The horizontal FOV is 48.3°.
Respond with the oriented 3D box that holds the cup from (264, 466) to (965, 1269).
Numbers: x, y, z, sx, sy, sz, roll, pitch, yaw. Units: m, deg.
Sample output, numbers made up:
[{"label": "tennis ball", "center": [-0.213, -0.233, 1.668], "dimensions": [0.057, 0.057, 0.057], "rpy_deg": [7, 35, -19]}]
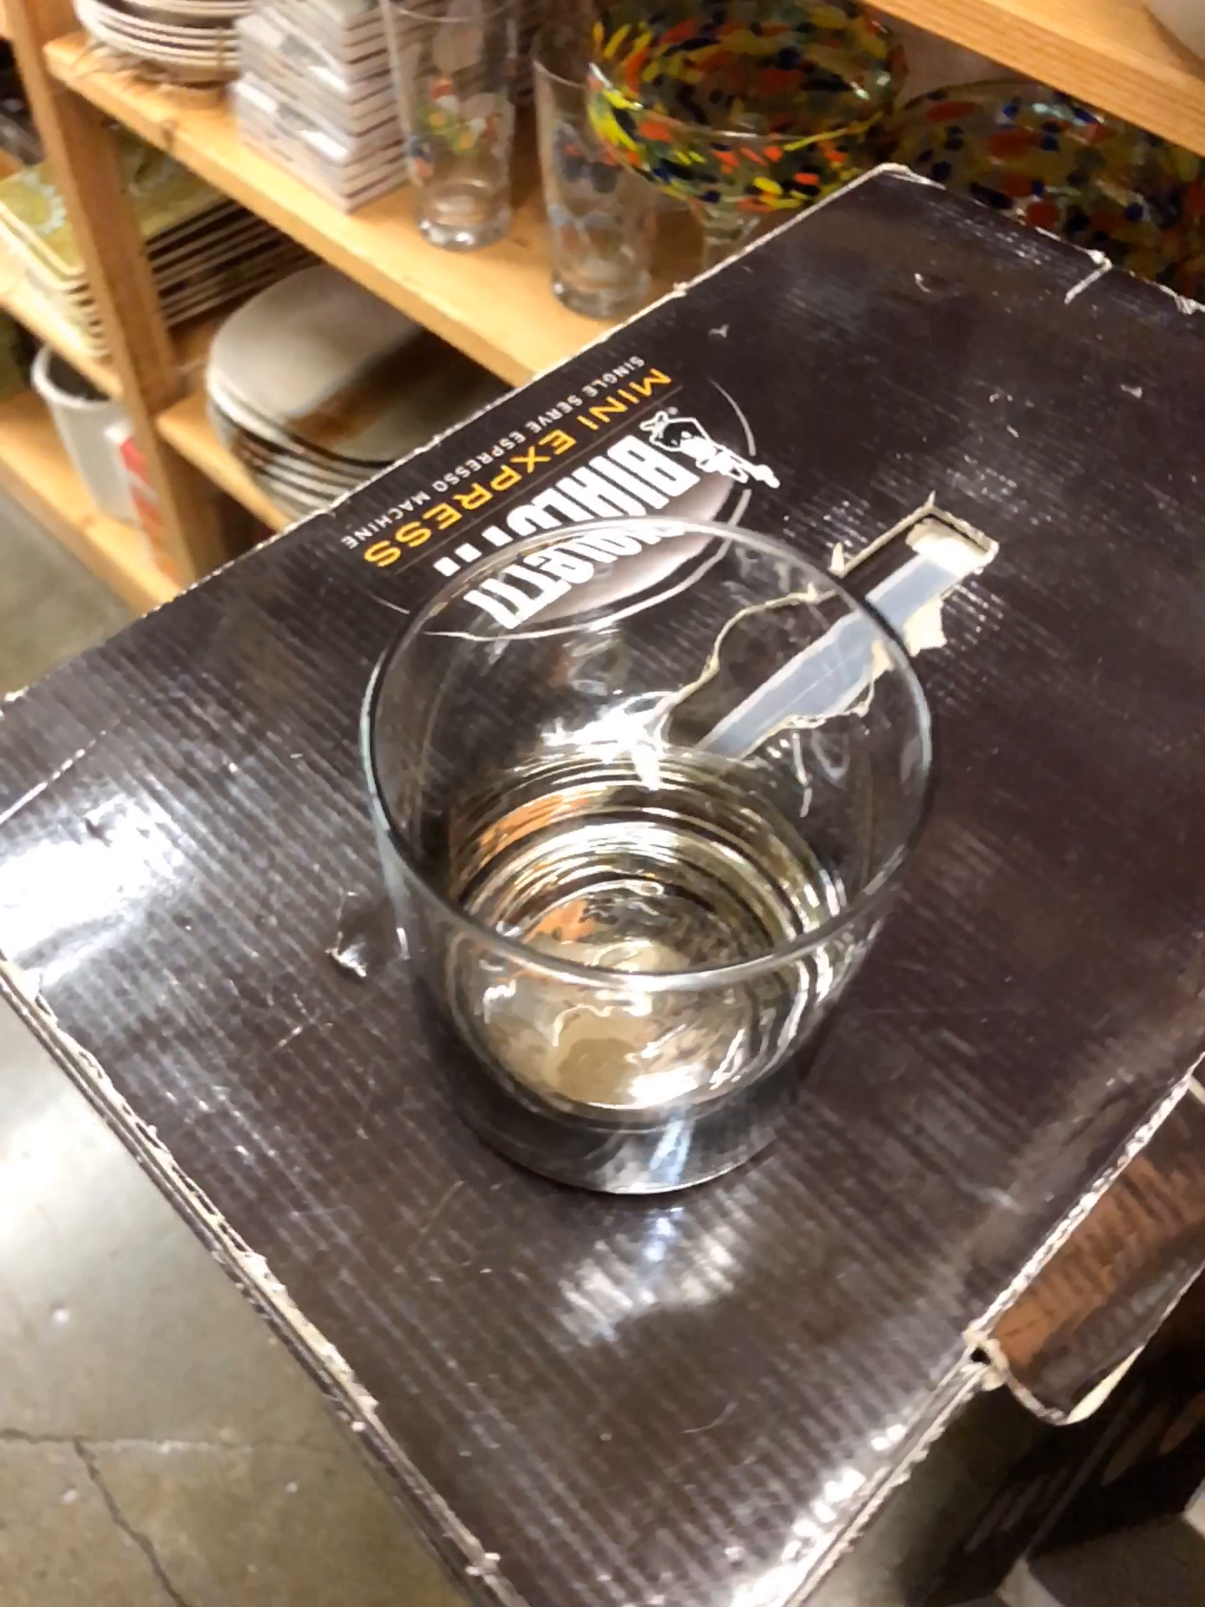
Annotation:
[{"label": "cup", "center": [0.006, 0.014, 0.232], "dimensions": [0.085, 0.093, 0.089], "rpy_deg": [1, 56, -1]}]
